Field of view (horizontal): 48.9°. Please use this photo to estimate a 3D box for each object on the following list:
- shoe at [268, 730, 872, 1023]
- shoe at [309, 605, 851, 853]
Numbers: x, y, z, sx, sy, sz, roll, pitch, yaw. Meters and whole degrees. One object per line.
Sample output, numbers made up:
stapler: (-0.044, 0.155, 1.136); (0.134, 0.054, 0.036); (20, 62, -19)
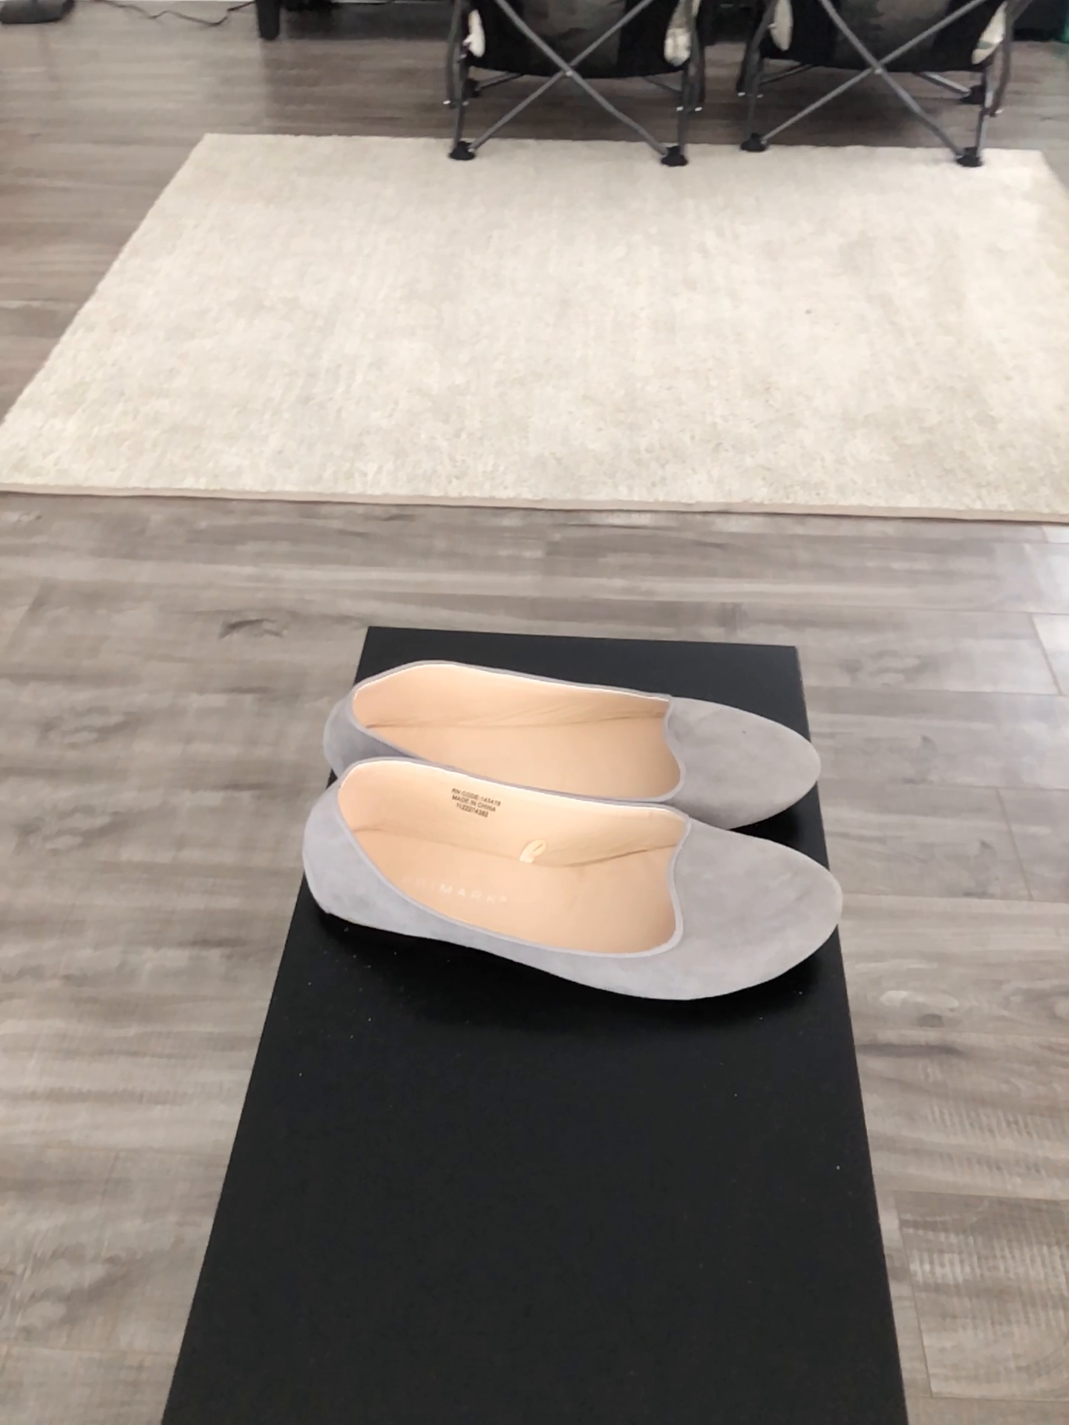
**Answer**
shoe: (0.017, 0.073, 0.541); (0.250, 0.060, 0.100); (4, 44, 4)
shoe: (0.024, 0.006, 0.611); (0.256, 0.060, 0.100); (4, 44, 4)
